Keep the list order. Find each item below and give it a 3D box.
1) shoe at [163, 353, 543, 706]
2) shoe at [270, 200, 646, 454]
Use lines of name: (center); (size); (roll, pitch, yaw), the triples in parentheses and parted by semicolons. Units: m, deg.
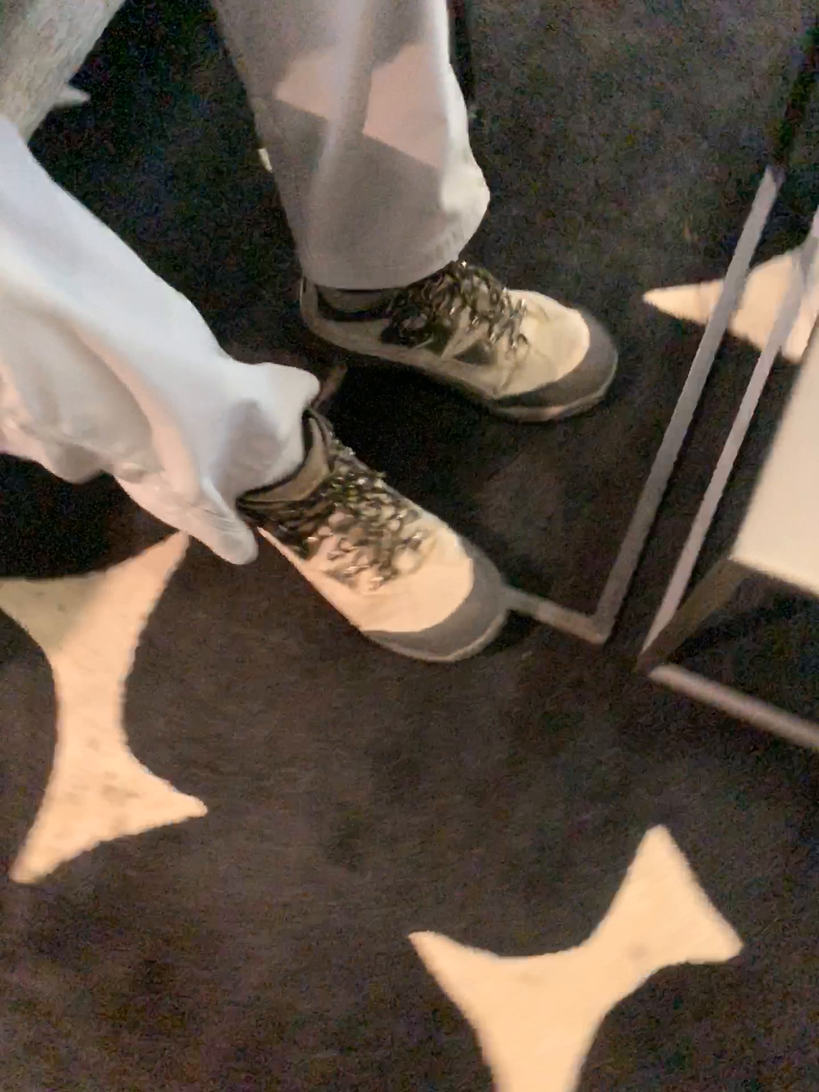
shoe: (-0.045, -0.013, 0.683); (0.285, 0.090, 0.123); (39, 82, 13)
shoe: (0.042, -0.202, 0.760); (0.304, 0.080, 0.121); (21, 77, 14)
